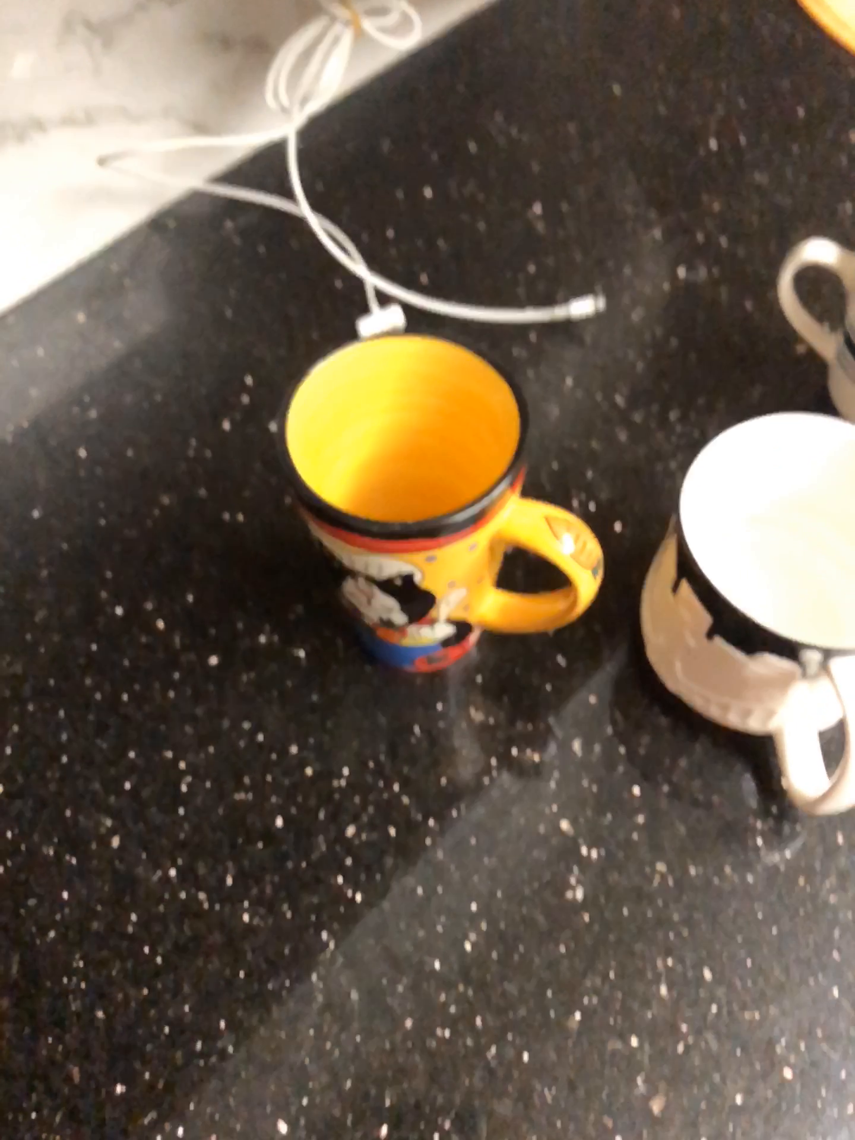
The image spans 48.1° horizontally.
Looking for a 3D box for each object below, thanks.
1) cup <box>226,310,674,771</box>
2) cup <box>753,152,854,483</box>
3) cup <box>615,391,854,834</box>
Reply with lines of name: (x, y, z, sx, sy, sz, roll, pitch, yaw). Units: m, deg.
cup: (0.012, -0.005, 0.392, 0.130, 0.149, 0.090, 18, 62, 12)
cup: (0.228, -0.124, 0.480, 0.090, 0.110, 0.100, 12, 61, 9)
cup: (0.145, 0.020, 0.403, 0.100, 0.110, 0.151, -2, 60, 1)
